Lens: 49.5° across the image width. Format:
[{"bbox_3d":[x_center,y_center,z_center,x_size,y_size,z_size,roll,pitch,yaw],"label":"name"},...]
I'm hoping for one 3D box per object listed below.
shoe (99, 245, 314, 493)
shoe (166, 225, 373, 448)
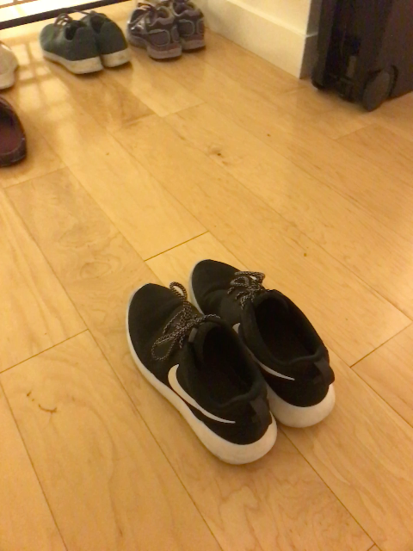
[{"bbox_3d":[-0.013,0.094,0.539,0.110,0.089,0.271,-27,52,-23],"label":"shoe"},{"bbox_3d":[0.064,0.063,0.581,0.110,0.089,0.271,-25,51,-21],"label":"shoe"}]
